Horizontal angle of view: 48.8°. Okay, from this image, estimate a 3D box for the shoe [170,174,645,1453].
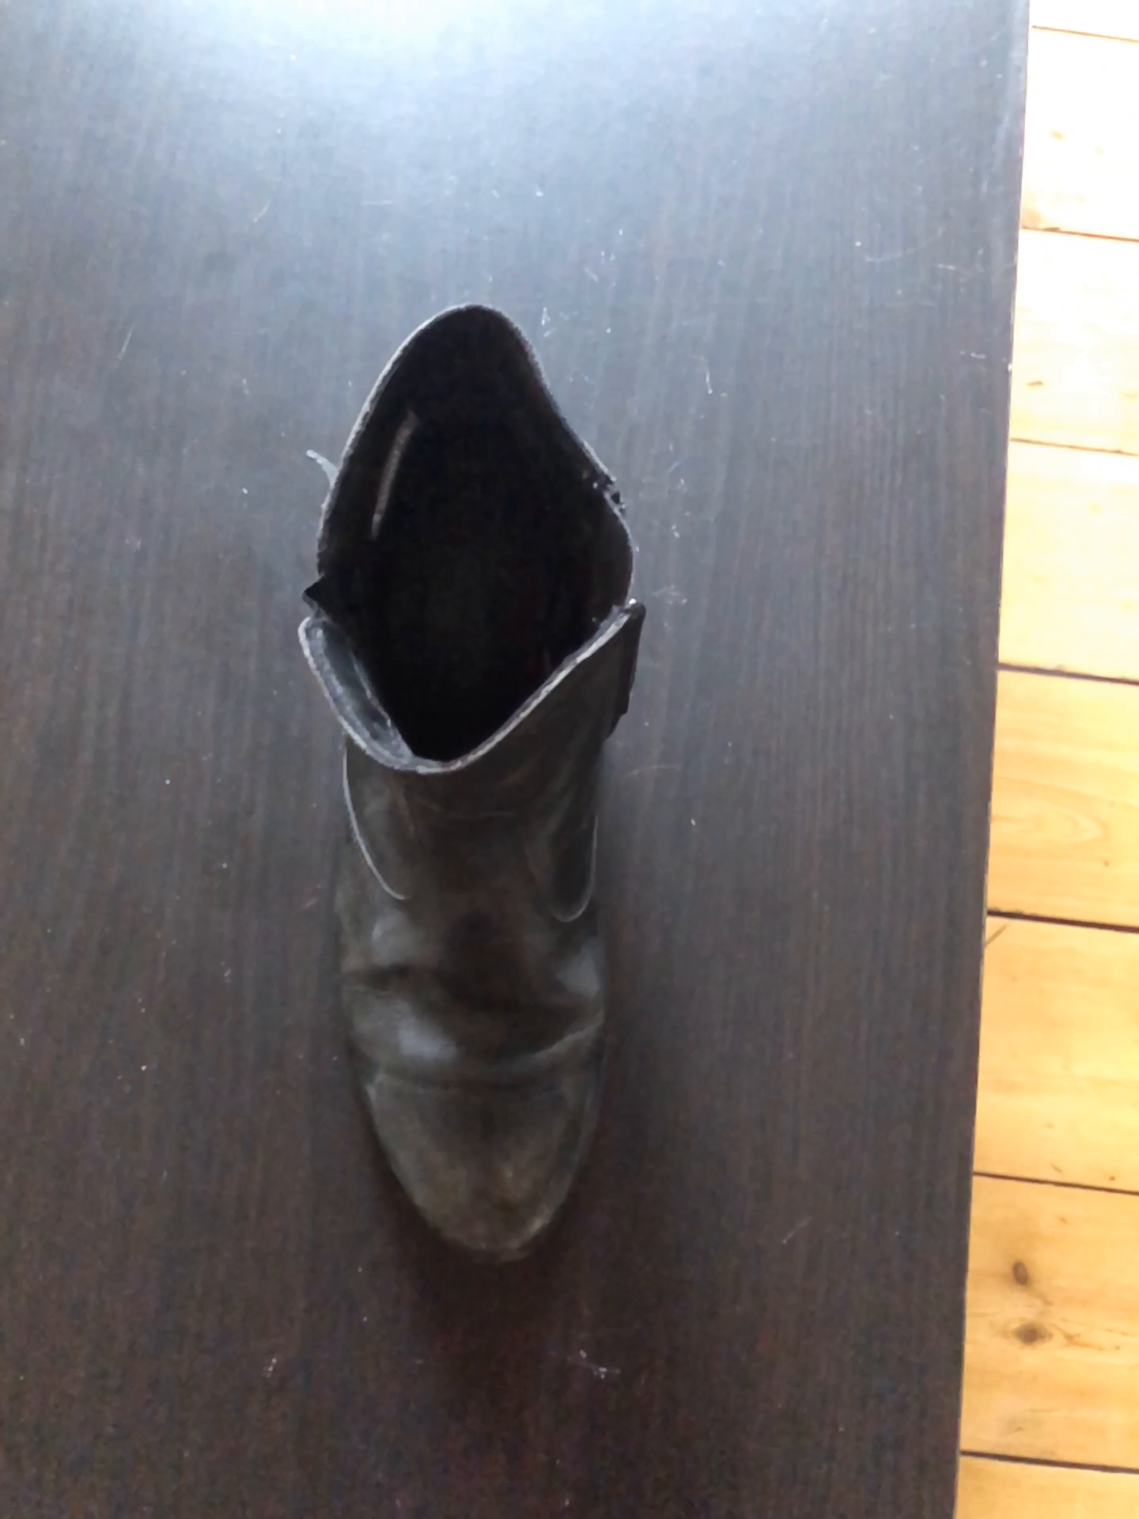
[{"bbox_3d":[-0.031,0.014,0.349,0.090,0.170,0.270,1,81,-1],"label":"shoe"}]
